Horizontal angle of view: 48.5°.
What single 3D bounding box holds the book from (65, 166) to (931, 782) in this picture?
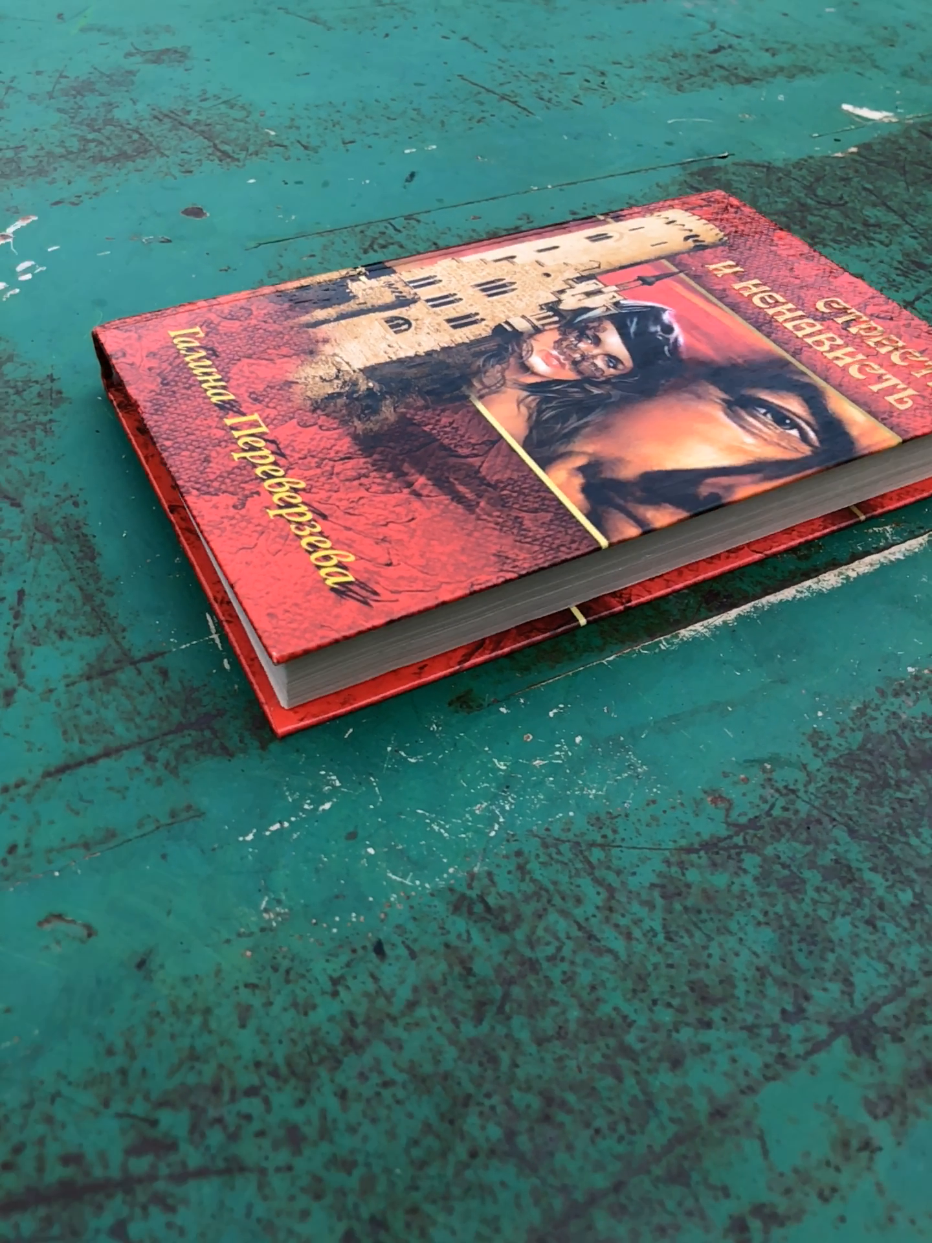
[{"bbox_3d":[0.021,-0.059,0.275,0.210,0.030,0.144,-20,52,-21],"label":"book"}]
